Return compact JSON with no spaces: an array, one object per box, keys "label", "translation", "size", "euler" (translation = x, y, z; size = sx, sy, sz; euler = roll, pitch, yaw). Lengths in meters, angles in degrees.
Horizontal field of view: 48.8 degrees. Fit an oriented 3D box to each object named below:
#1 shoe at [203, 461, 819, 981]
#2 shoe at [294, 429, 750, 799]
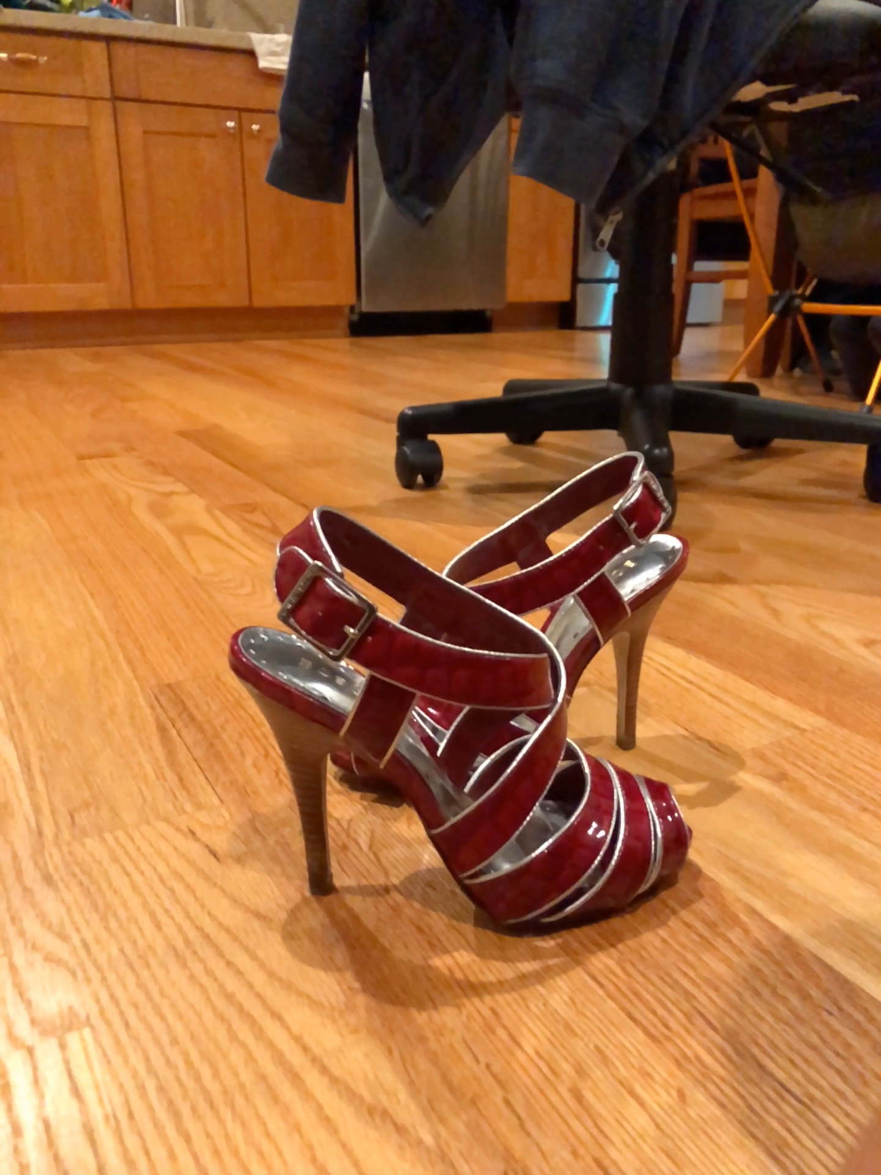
[{"label":"shoe","translation":[0.019,0.040,0.366],"size":[0.198,0.151,0.092],"euler":[-4,18,-11]},{"label":"shoe","translation":[0.034,0.004,0.475],"size":[0.193,0.141,0.092],"euler":[-5,18,-15]}]
